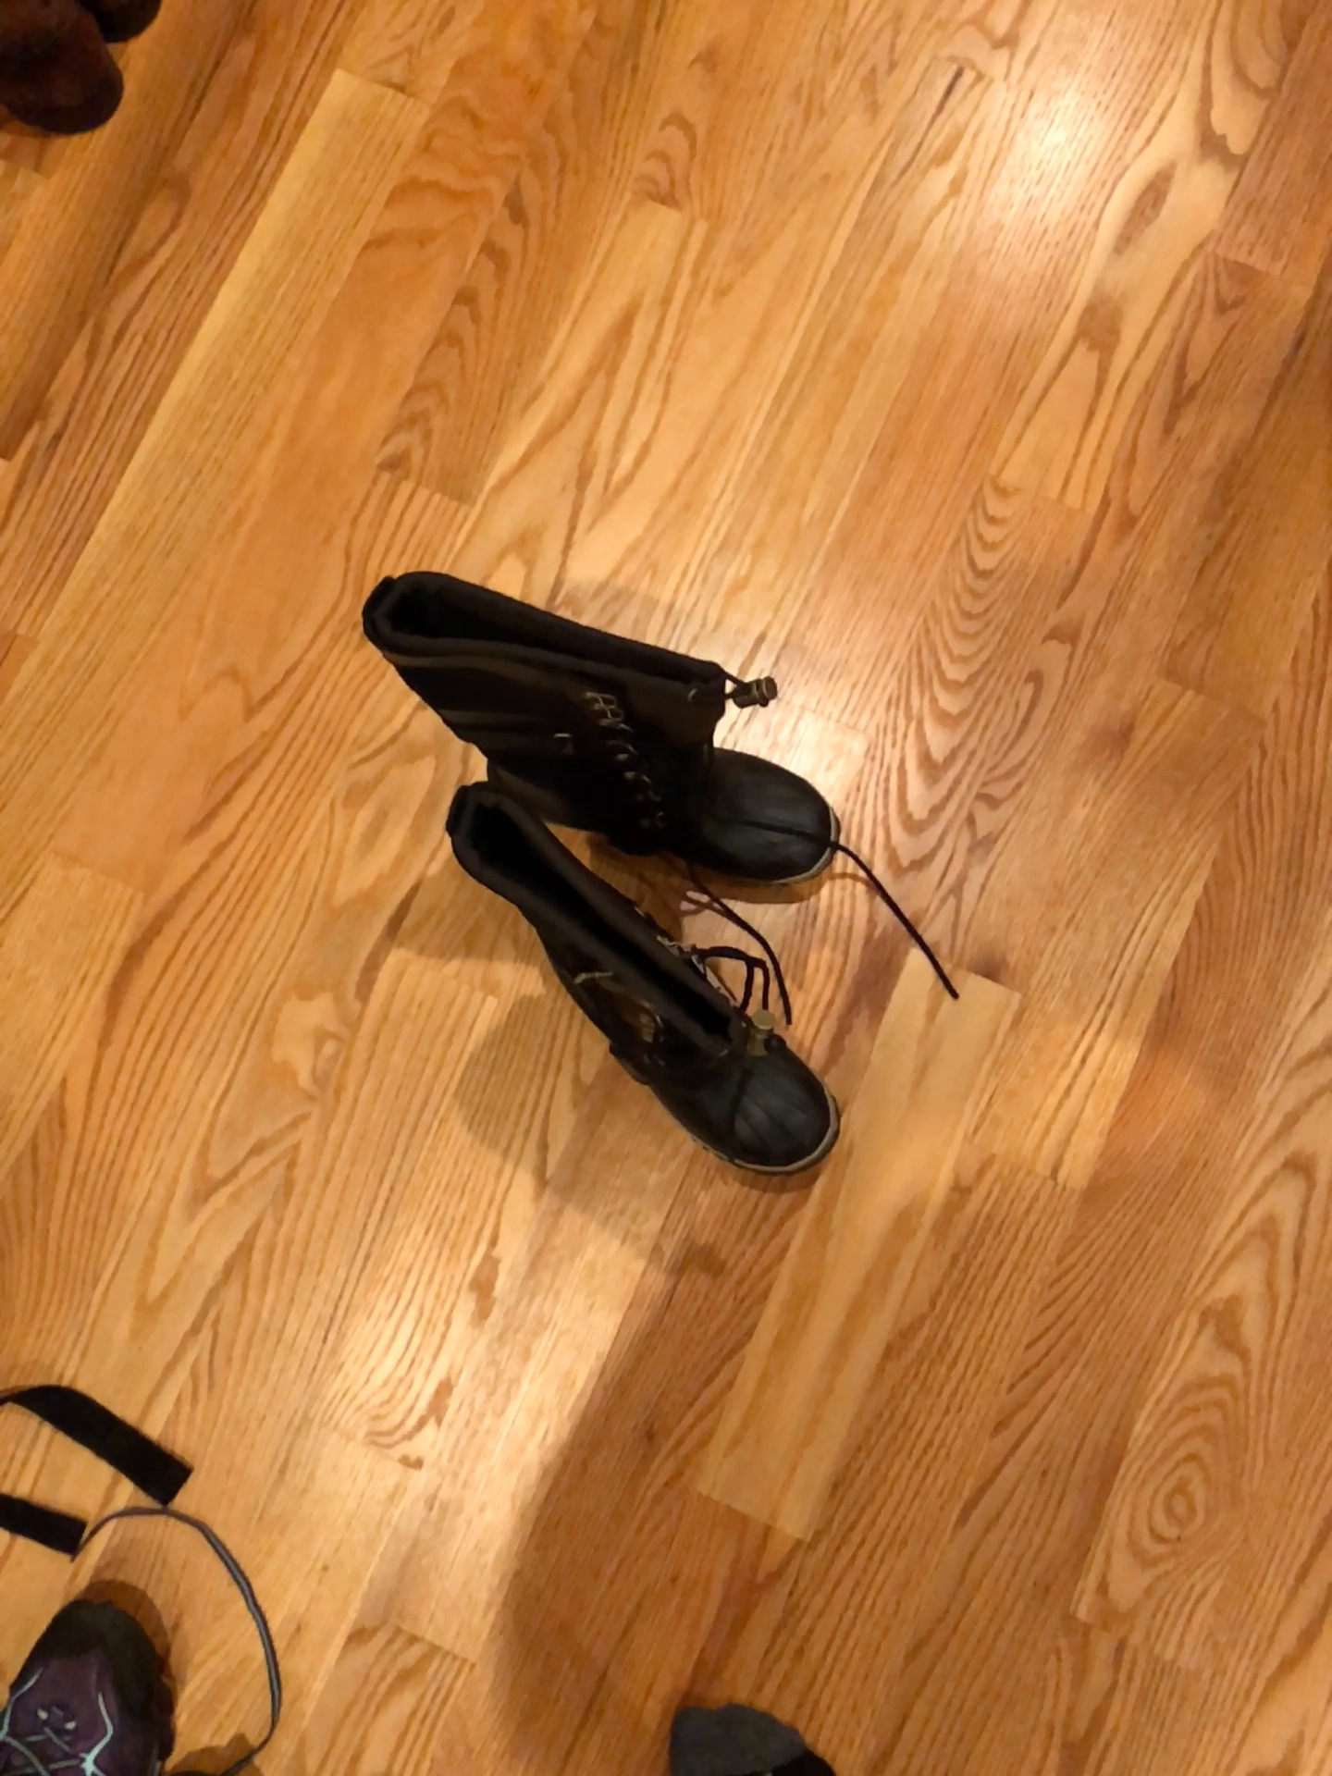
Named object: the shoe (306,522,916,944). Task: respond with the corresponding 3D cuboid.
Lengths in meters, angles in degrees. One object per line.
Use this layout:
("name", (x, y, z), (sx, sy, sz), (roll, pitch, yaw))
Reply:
("shoe", (-0.020, -0.066, 0.820), (0.260, 0.330, 0.100), (12, 81, 4))

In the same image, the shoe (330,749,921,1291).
("shoe", (-0.016, 0.081, 0.804), (0.260, 0.310, 0.100), (39, 83, 7))
